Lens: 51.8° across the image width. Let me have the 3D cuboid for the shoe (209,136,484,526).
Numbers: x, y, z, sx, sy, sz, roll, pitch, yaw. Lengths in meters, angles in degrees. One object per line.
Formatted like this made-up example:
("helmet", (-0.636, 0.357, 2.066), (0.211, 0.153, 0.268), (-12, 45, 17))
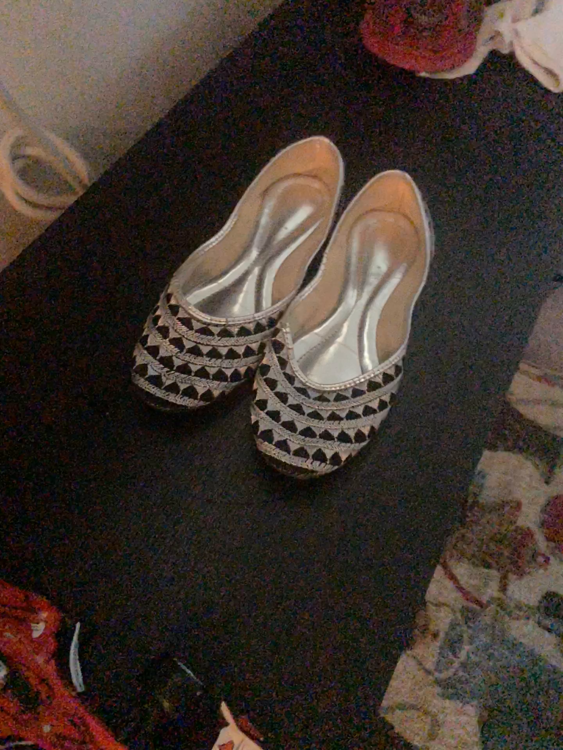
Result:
("shoe", (0.055, -0.045, 0.412), (0.095, 0.070, 0.272), (21, 62, 9))

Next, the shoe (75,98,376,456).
("shoe", (-0.026, -0.086, 0.434), (0.095, 0.070, 0.272), (23, 62, 10))
